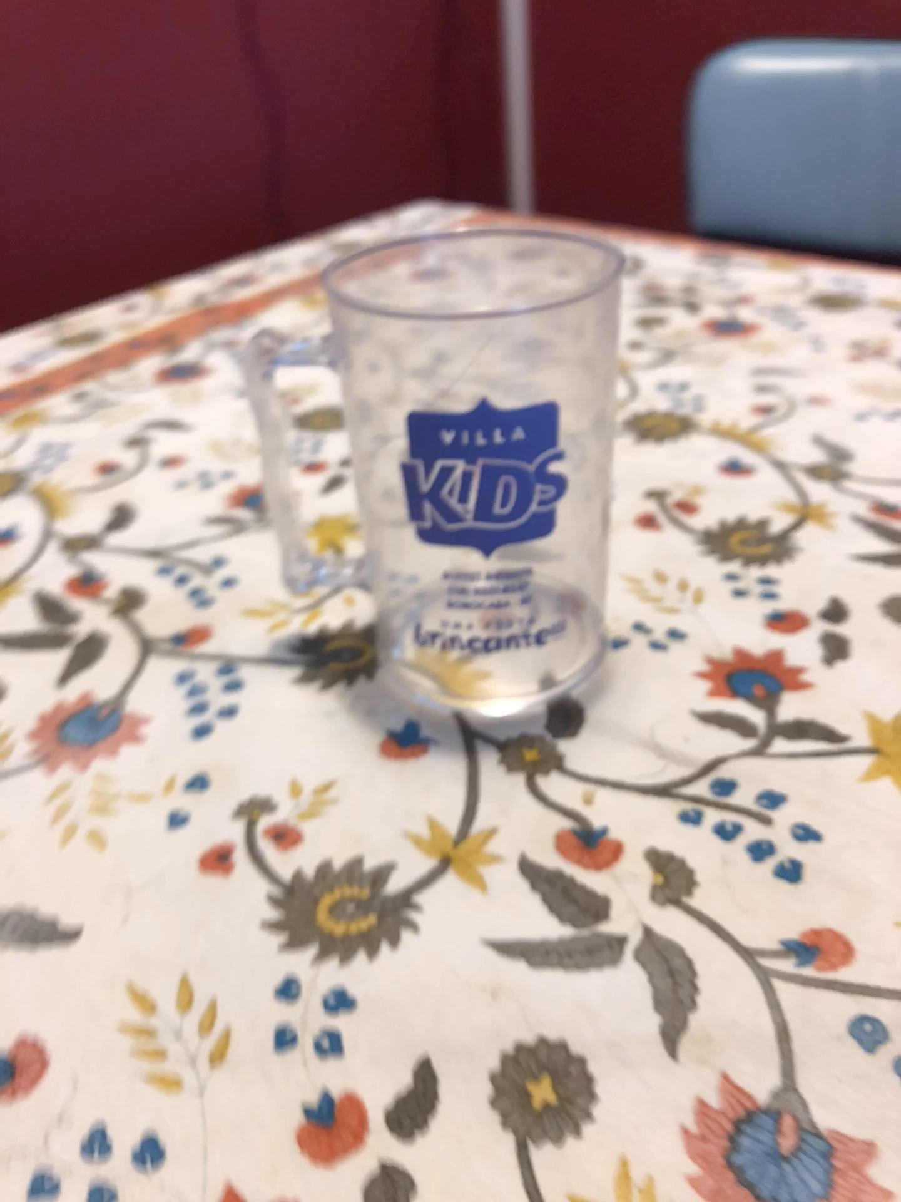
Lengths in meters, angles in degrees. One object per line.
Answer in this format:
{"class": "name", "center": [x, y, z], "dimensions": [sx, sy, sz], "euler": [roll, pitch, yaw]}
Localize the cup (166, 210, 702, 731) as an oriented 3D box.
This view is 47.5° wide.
{"class": "cup", "center": [0.002, -0.035, 0.271], "dimensions": [0.110, 0.109, 0.081], "euler": [0, 33, 6]}
